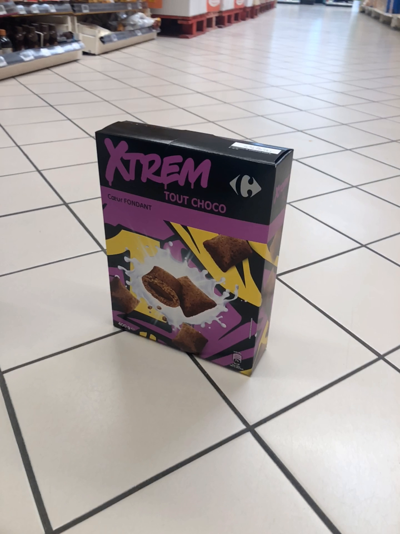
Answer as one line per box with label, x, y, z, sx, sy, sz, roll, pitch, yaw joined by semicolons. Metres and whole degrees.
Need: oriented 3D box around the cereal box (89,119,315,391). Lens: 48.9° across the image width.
cereal box;-0.006;-0.014;0.470;0.200;0.238;0.070;17;34;22
